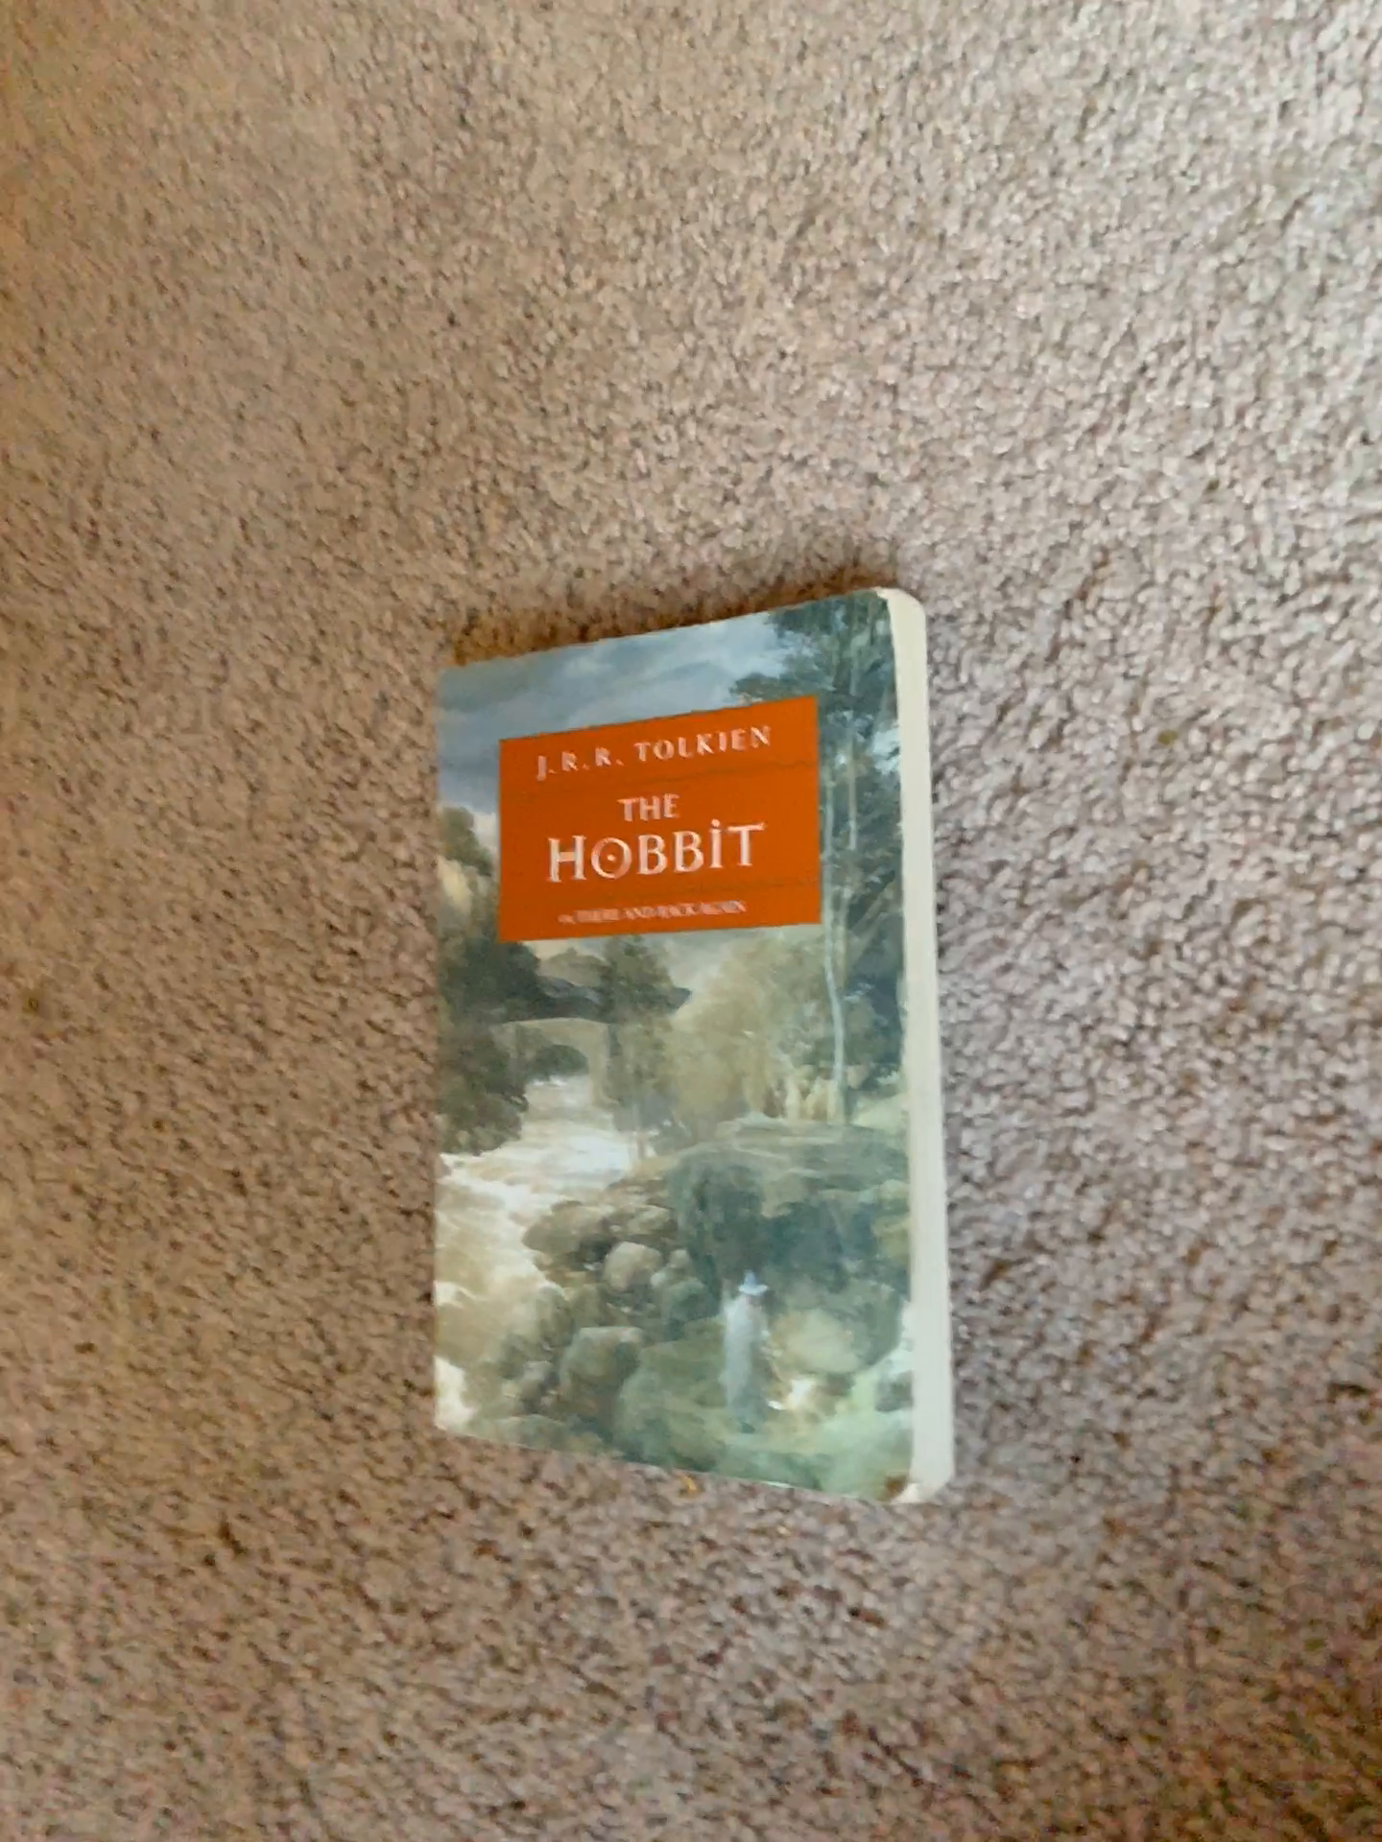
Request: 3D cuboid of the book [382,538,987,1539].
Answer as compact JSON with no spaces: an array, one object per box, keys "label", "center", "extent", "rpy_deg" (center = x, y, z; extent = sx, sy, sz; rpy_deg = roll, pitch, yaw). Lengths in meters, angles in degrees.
[{"label":"book","center":[-0.005,0.027,0.360],"extent":[0.151,0.030,0.220],"rpy_deg":[-5,78,29]}]
